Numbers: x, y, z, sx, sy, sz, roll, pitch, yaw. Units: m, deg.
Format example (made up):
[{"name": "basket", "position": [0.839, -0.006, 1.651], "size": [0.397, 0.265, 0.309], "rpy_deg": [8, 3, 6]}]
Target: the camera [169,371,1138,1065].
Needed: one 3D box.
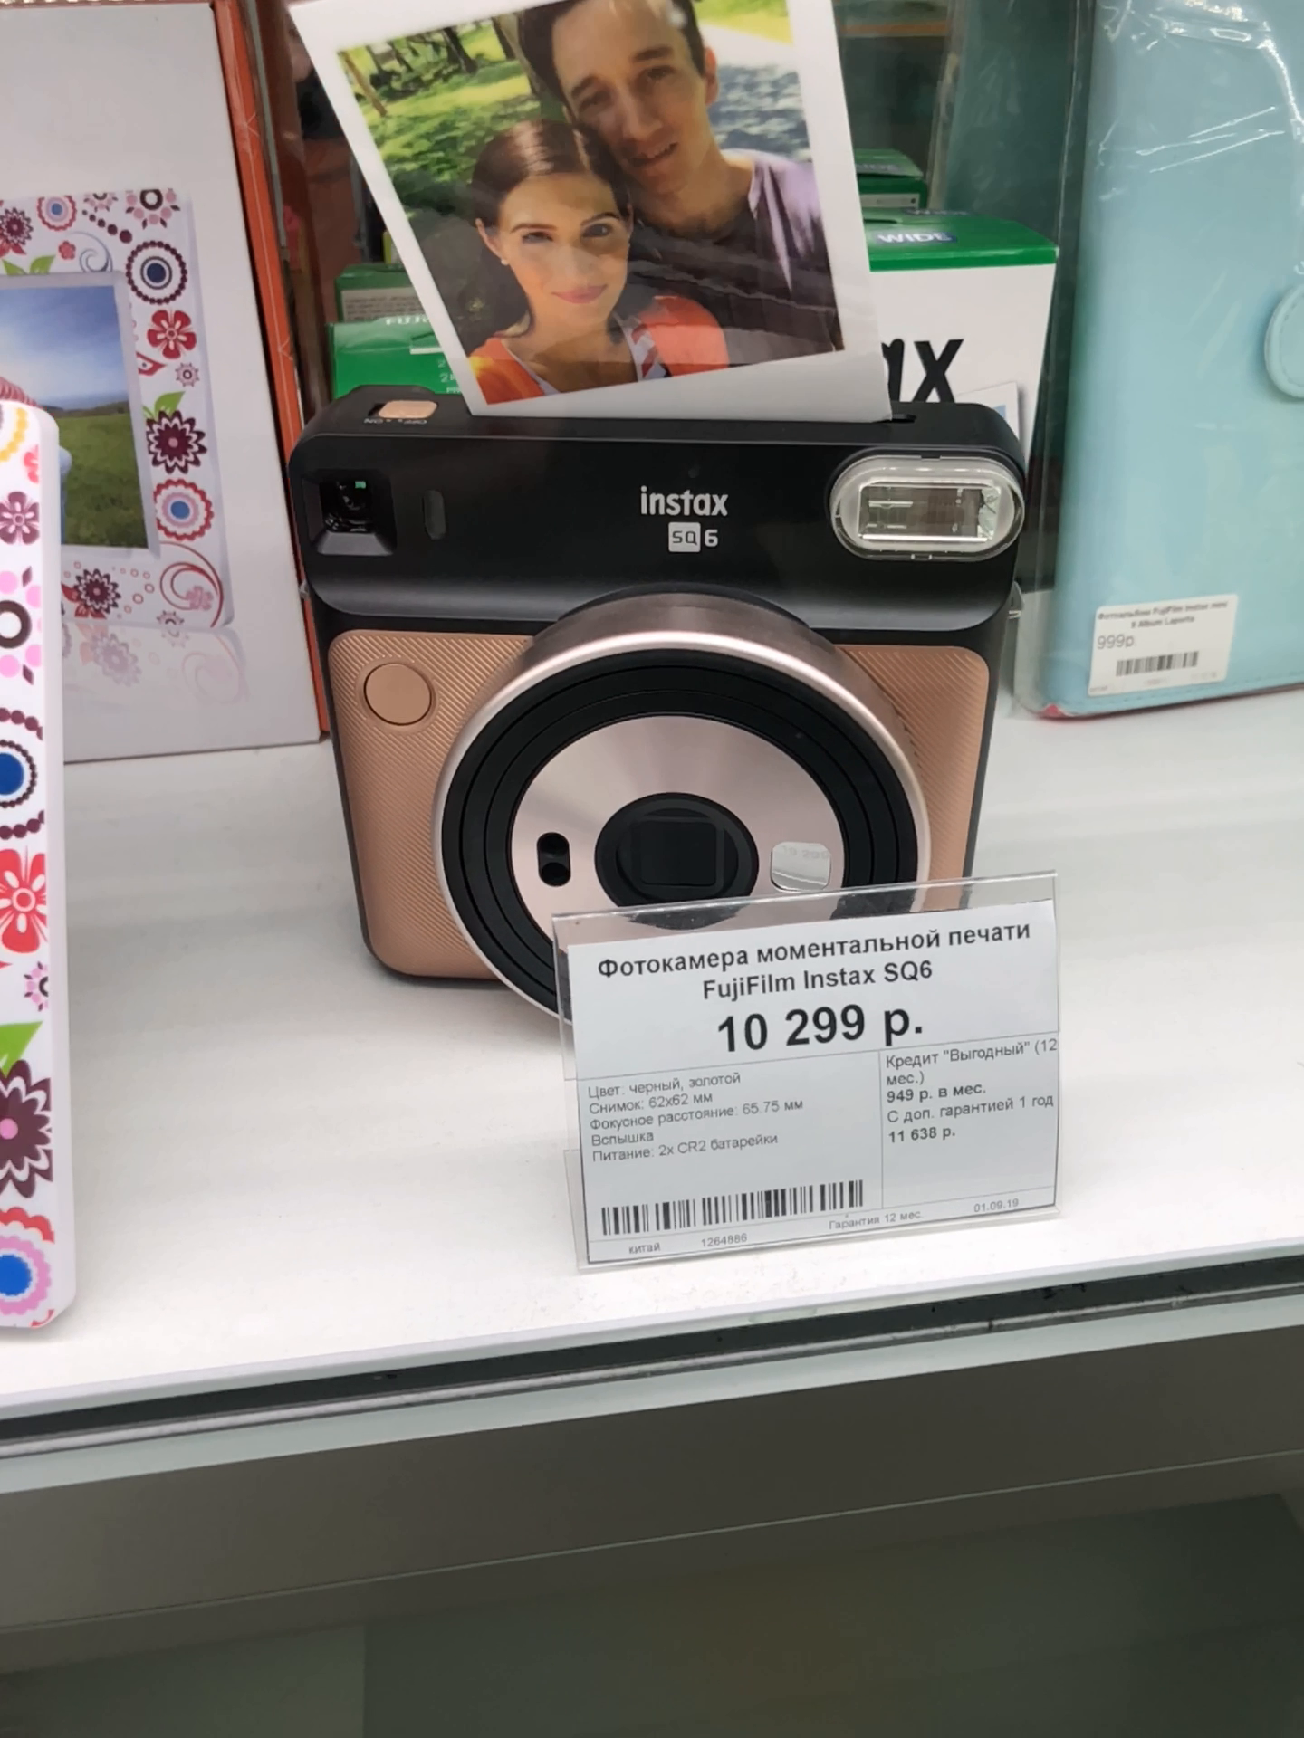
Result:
[{"name": "camera", "position": [0.001, -0.028, 0.263], "size": [0.140, 0.104, 0.060], "rpy_deg": [3, 35, 4]}]
